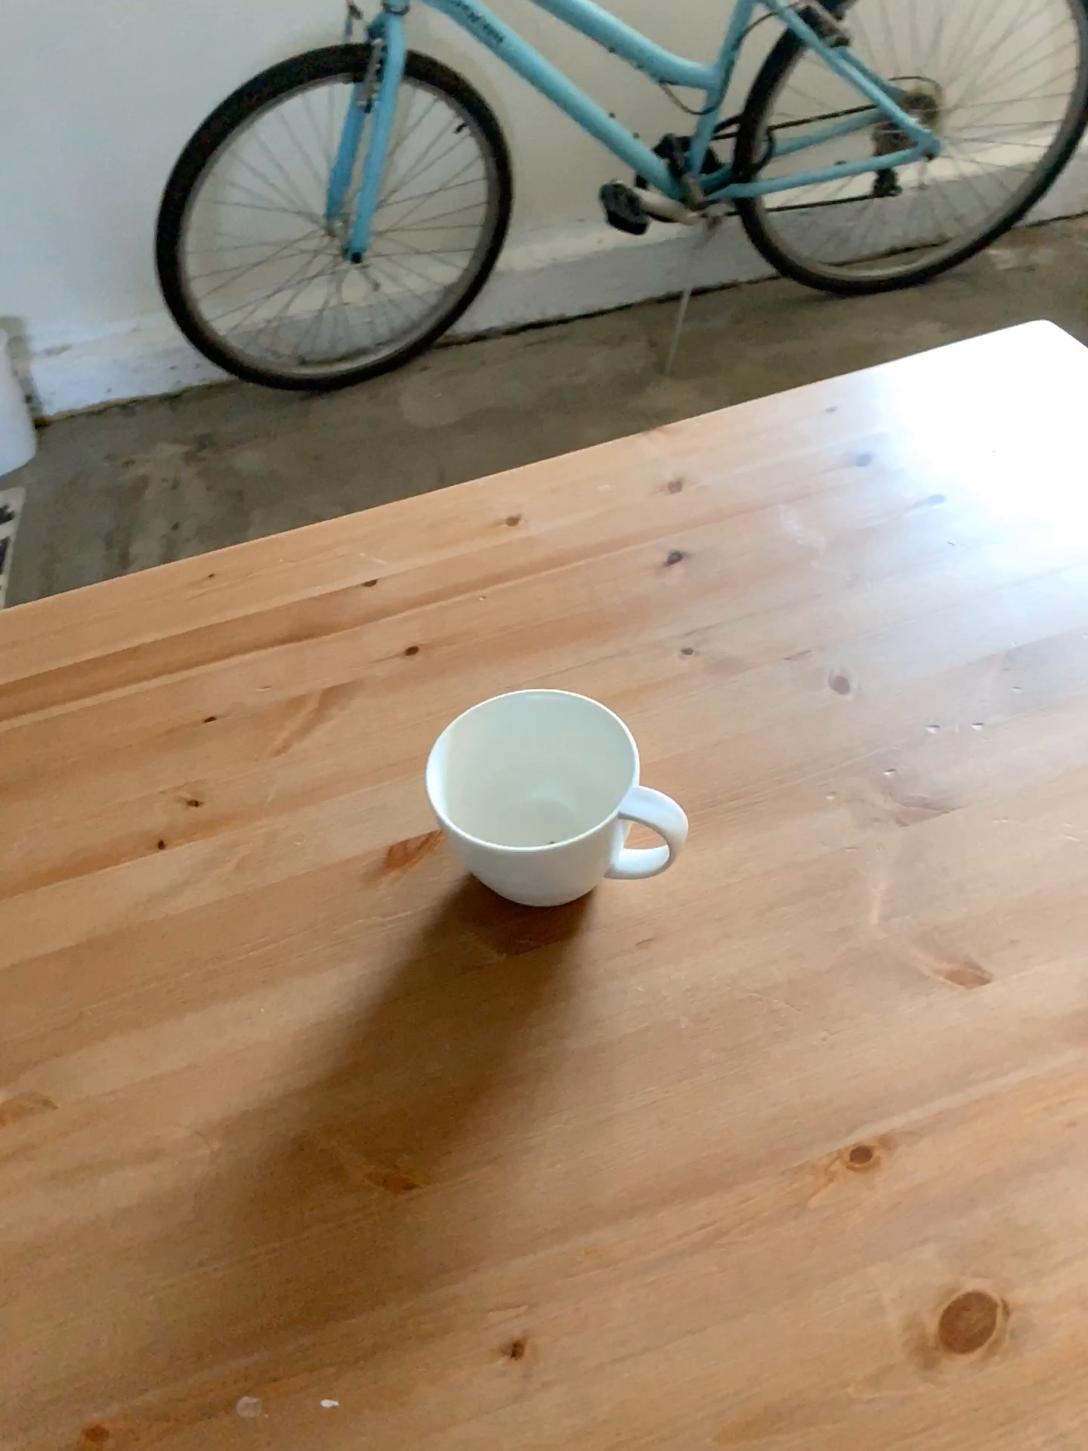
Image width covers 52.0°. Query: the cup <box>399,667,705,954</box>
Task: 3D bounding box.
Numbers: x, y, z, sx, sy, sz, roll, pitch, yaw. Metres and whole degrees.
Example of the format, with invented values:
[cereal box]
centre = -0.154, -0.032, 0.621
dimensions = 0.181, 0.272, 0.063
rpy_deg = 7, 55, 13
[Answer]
[cup]
centre = 0.011, 0.043, 0.581
dimensions = 0.130, 0.100, 0.090
rpy_deg = 7, 49, 16
